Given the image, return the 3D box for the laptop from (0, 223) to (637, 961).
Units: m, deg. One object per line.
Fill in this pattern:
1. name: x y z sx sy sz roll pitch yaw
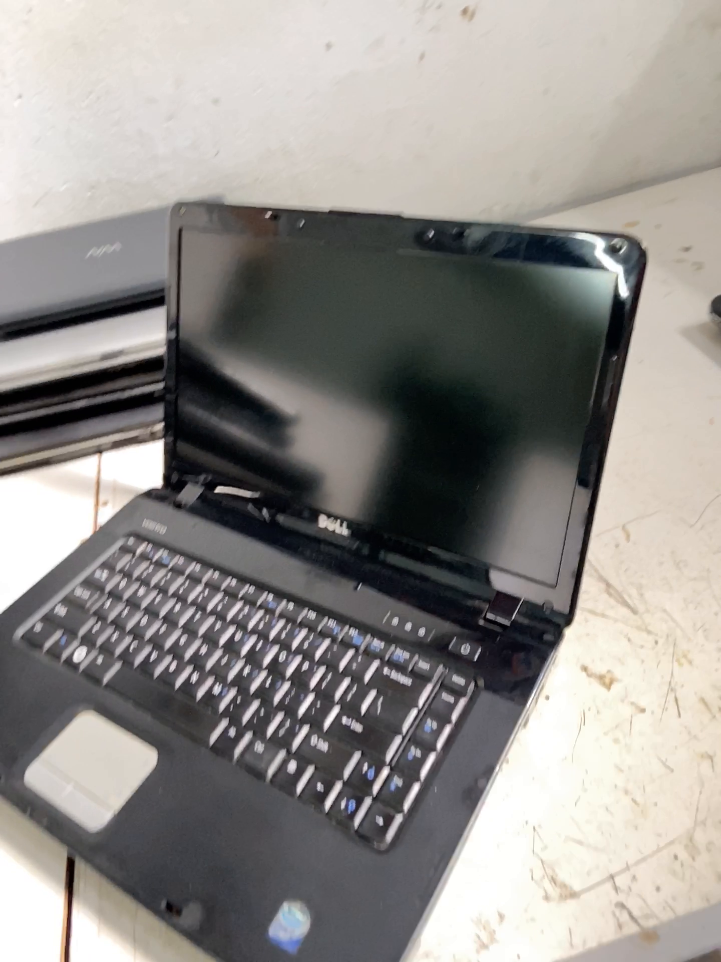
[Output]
1. laptop: -0.079 0.017 0.452 0.365 0.203 0.354 15 45 30
